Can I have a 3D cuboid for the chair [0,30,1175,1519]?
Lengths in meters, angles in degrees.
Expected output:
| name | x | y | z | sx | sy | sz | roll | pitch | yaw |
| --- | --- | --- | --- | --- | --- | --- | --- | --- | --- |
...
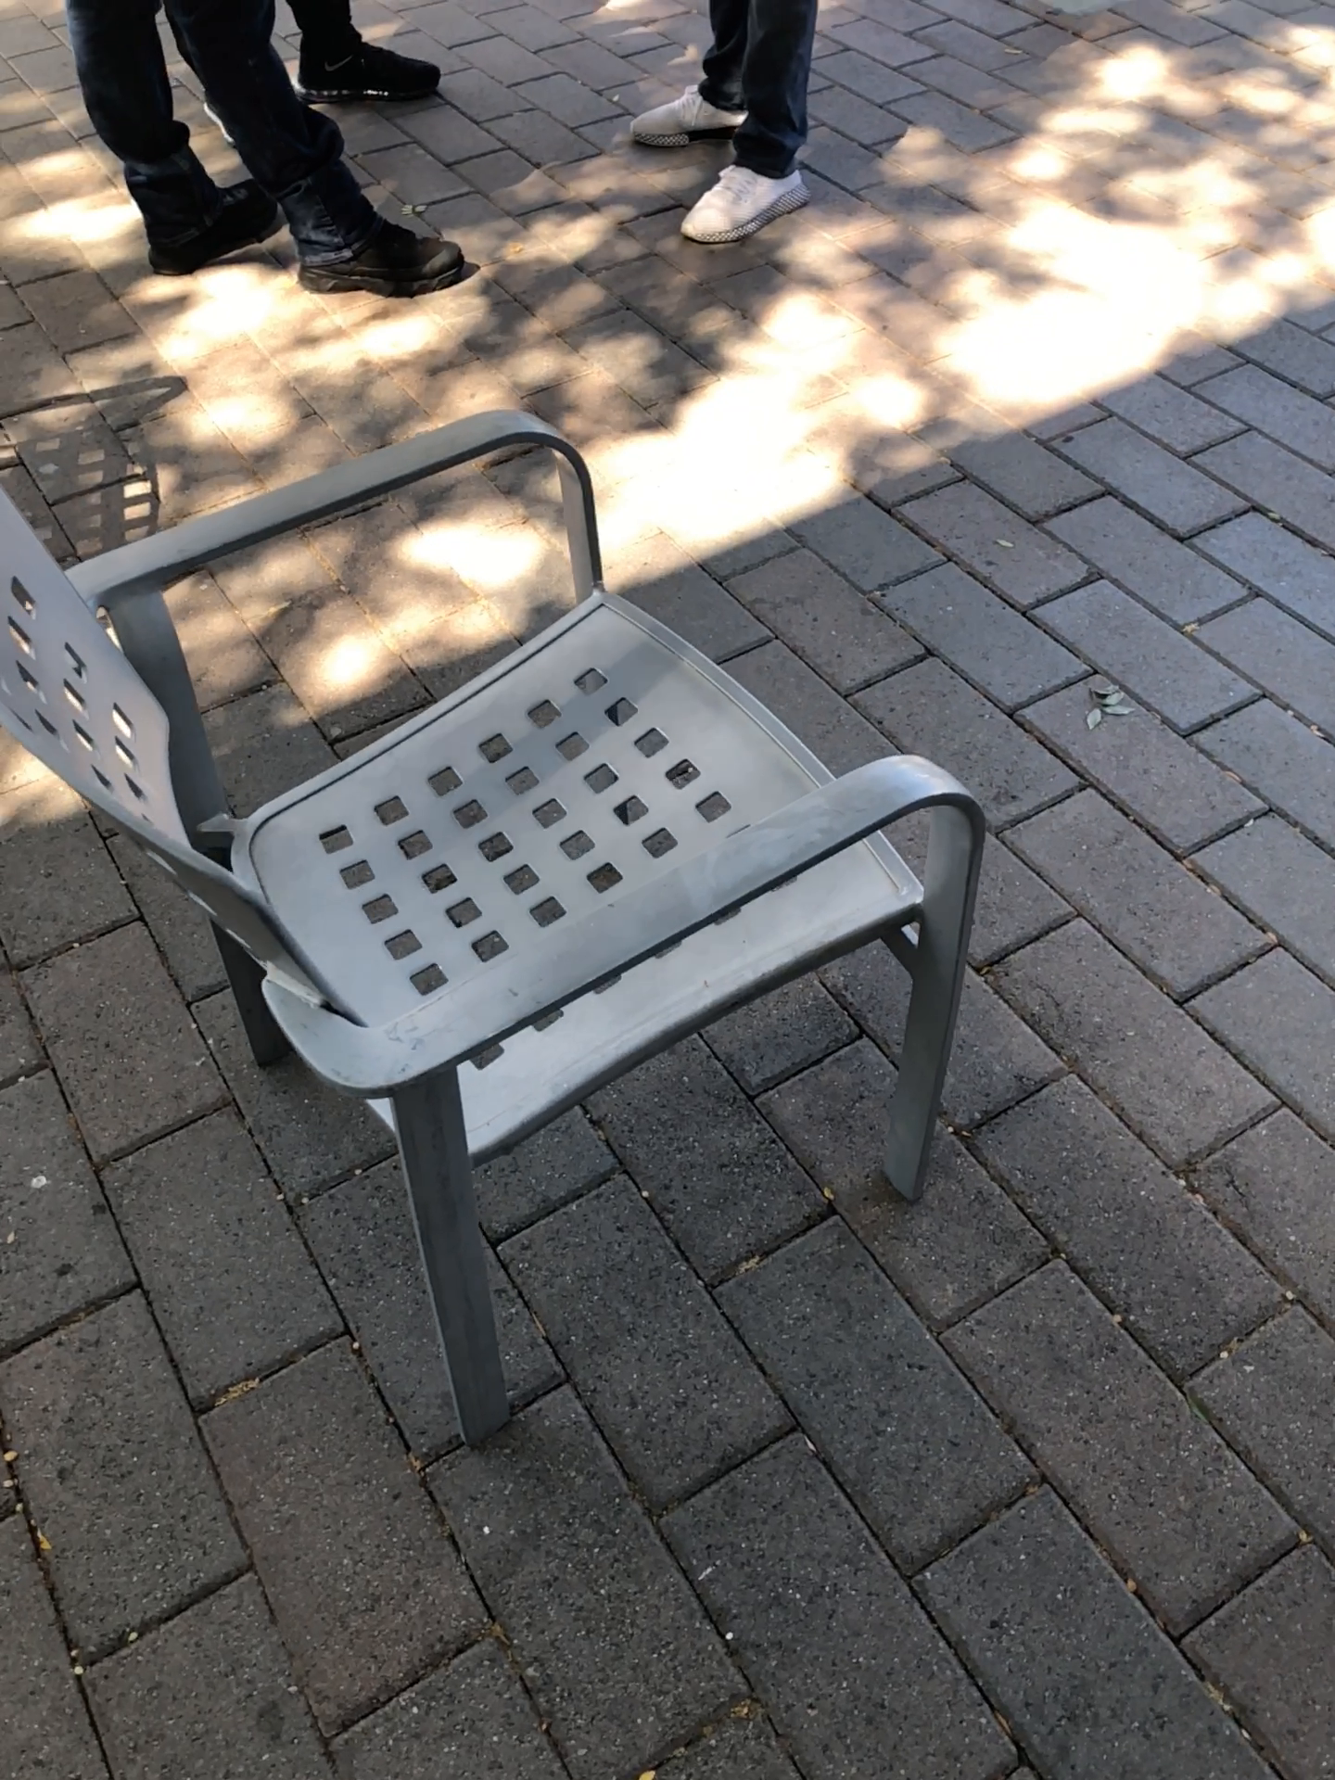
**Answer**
| name | x | y | z | sx | sy | sz | roll | pitch | yaw |
| --- | --- | --- | --- | --- | --- | --- | --- | --- | --- |
| chair | -0.123 | -0.081 | 1.149 | 0.590 | 0.776 | 0.633 | -29 | 52 | -18 |
